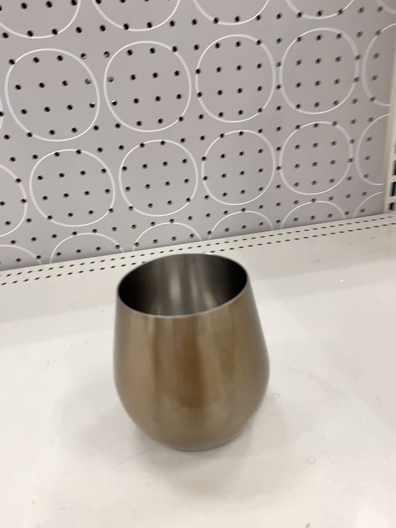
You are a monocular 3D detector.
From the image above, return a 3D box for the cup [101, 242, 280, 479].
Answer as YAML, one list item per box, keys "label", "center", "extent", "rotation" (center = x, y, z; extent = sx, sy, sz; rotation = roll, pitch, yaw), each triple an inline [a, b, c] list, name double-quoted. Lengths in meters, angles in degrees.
- label: "cup"
  center: [-0.007, 0.050, 0.243]
  extent: [0.082, 0.090, 0.084]
  rotation: [-4, 25, 2]
